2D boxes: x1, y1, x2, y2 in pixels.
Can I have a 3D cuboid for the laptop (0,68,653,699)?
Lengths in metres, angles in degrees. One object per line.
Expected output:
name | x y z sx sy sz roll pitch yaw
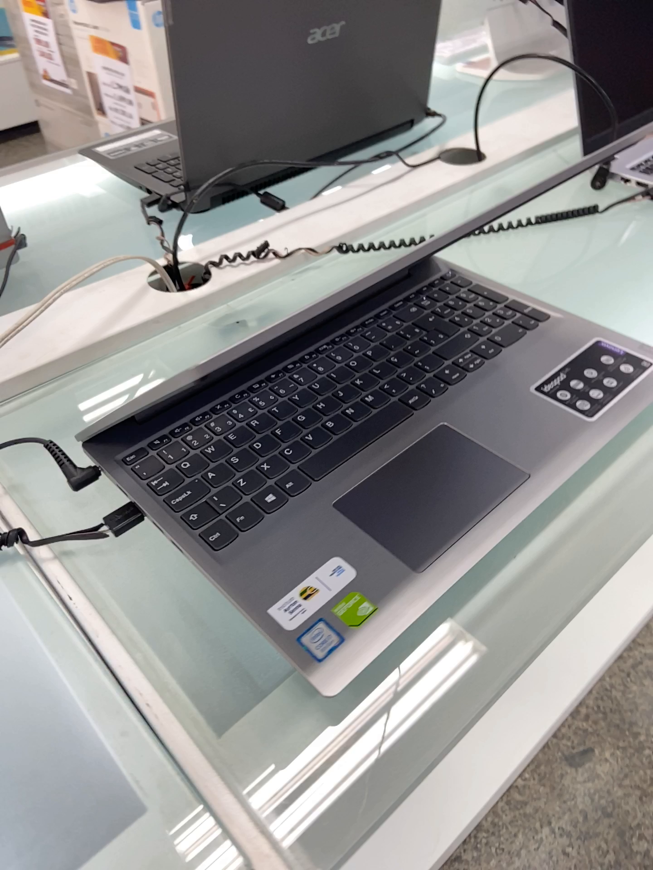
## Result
laptop | 0.048 -0.082 0.419 0.363 0.160 0.246 -34 50 -29
